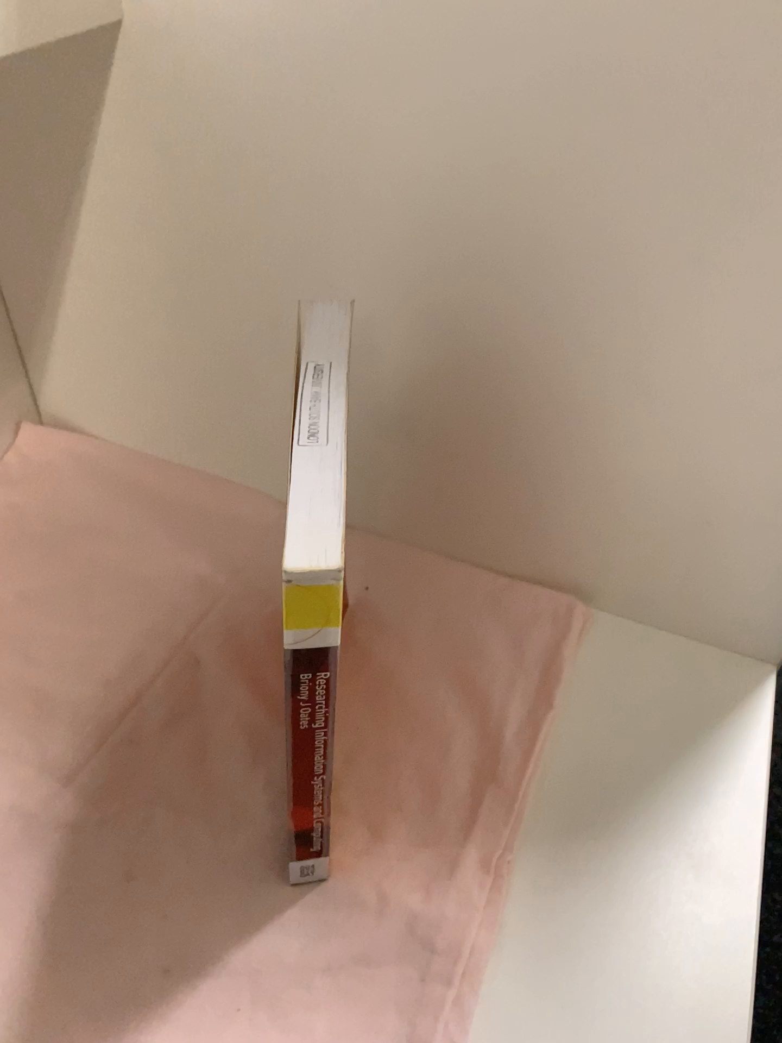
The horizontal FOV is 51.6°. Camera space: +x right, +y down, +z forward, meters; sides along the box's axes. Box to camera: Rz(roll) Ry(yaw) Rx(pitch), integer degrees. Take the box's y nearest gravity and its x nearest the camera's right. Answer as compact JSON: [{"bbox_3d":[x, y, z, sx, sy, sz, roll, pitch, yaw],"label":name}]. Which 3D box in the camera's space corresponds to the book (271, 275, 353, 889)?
[{"bbox_3d":[-0.035,0.033,0.411,0.026,0.238,0.203,1,42,-4],"label":"book"}]
